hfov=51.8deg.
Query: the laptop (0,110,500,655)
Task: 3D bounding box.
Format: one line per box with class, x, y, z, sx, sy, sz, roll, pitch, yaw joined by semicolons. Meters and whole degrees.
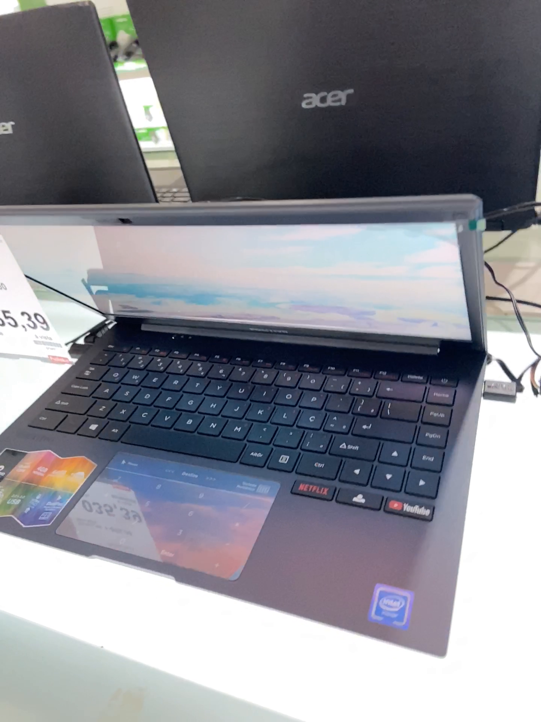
laptop;-0.051;-0.021;0.344;0.334;0.163;0.223;6;39;23
